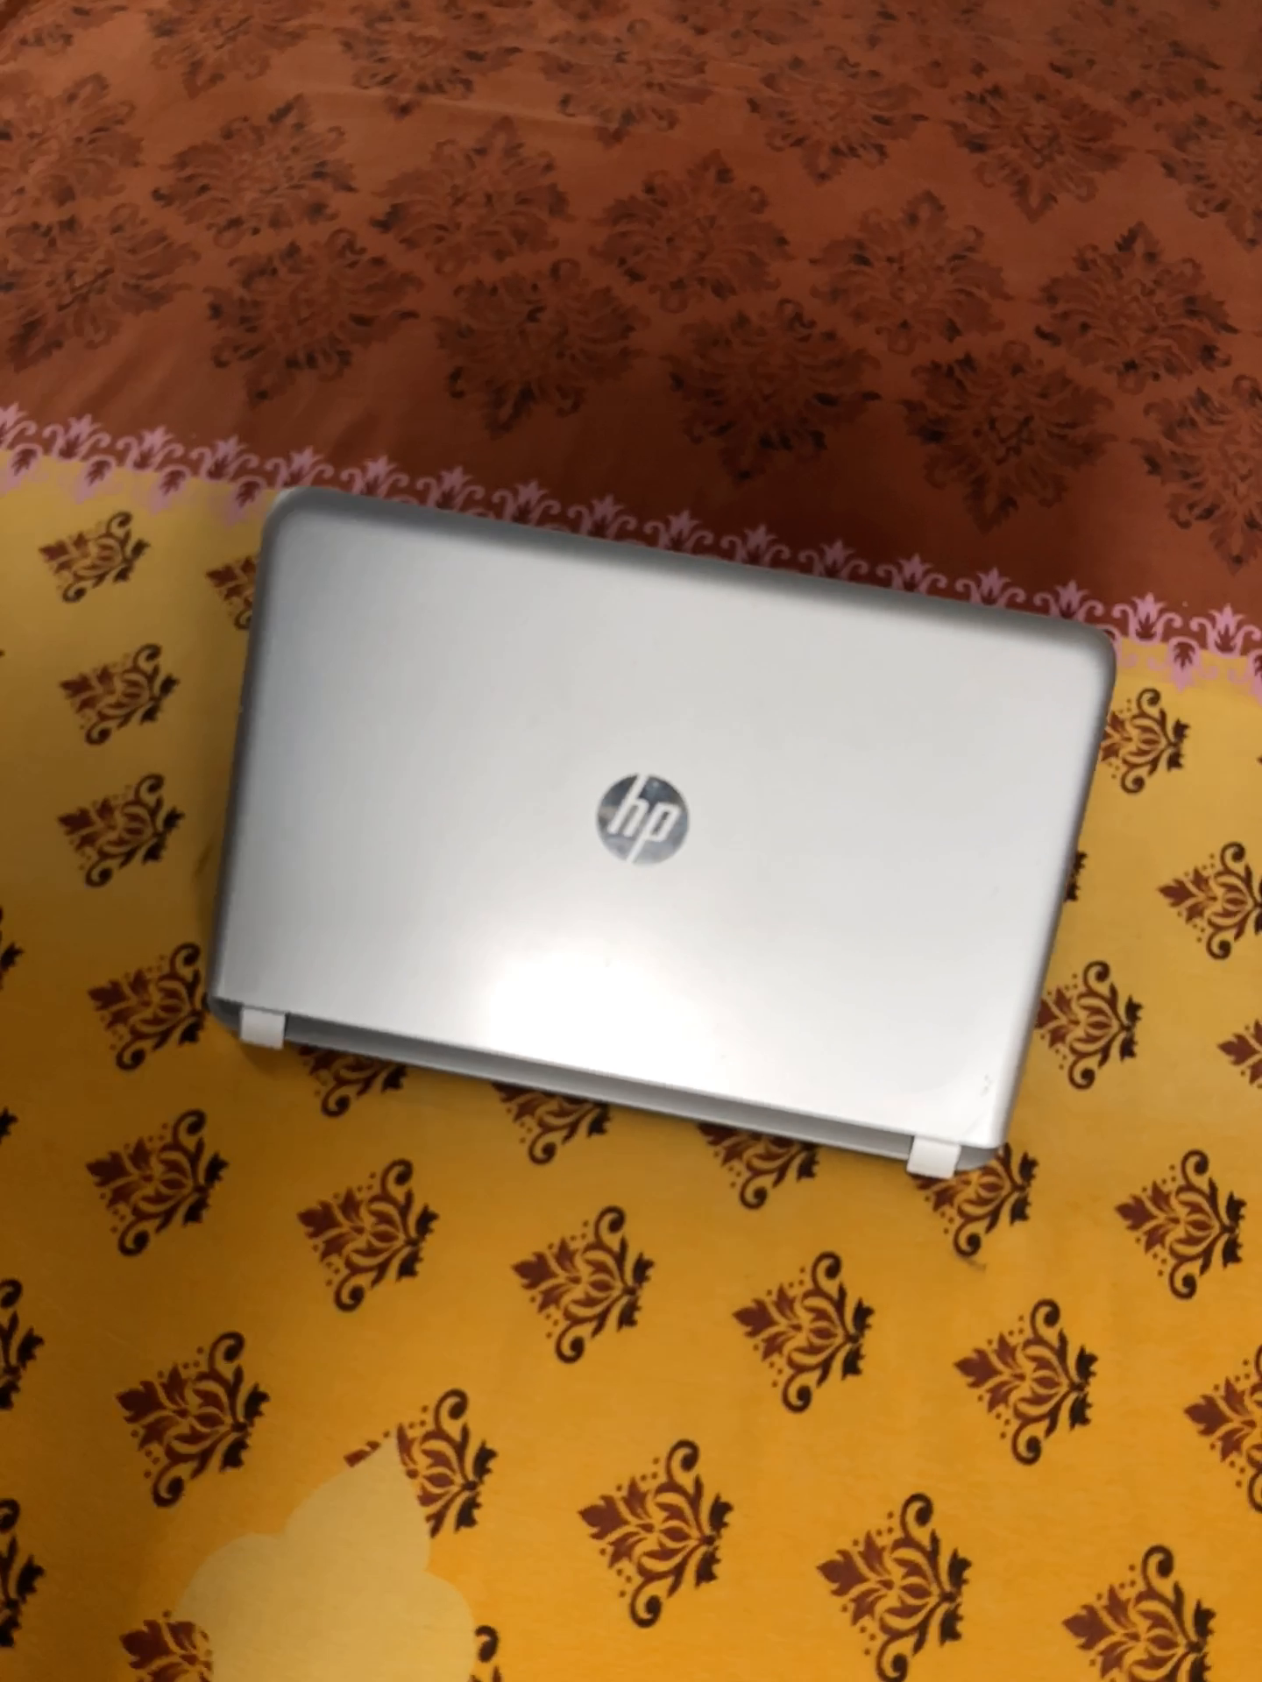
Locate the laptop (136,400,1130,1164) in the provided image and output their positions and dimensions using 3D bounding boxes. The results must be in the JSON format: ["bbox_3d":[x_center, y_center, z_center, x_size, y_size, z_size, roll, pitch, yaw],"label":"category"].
[{"bbox_3d":[0.013,-0.027,0.653,0.372,0.155,0.249,11,62,3],"label":"laptop"}]
